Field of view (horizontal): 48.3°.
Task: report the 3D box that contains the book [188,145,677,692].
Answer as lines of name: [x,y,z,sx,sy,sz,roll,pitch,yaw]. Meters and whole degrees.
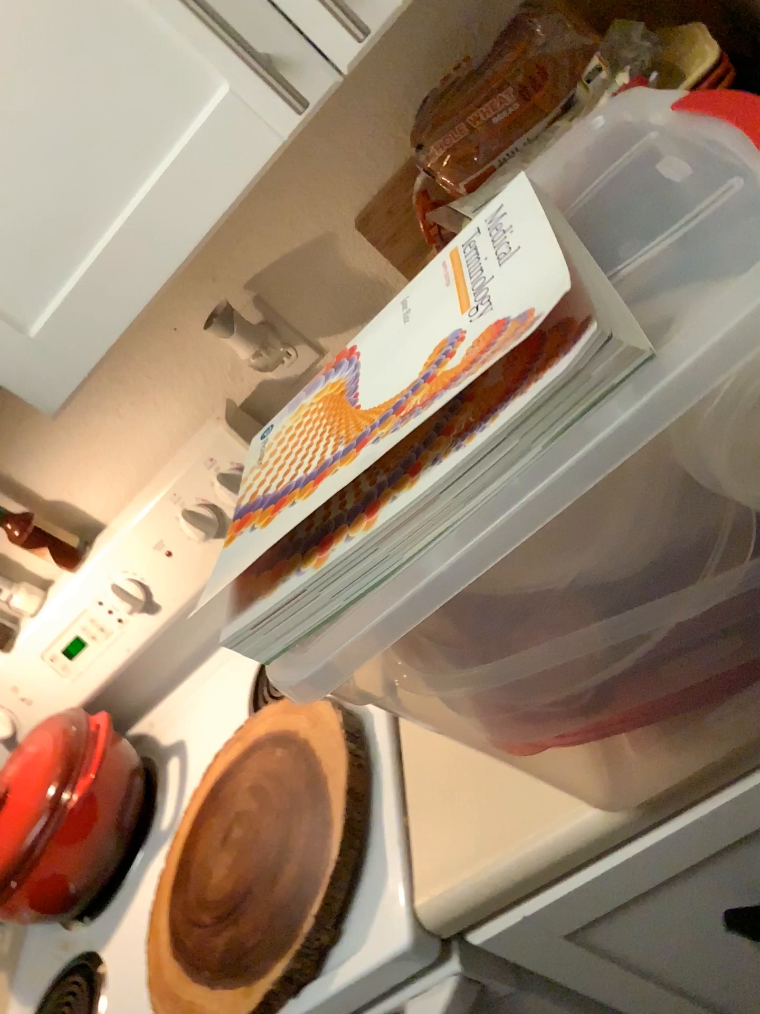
book: [0.006,-0.062,0.514,0.290,0.050,0.230,-41,29,22]
